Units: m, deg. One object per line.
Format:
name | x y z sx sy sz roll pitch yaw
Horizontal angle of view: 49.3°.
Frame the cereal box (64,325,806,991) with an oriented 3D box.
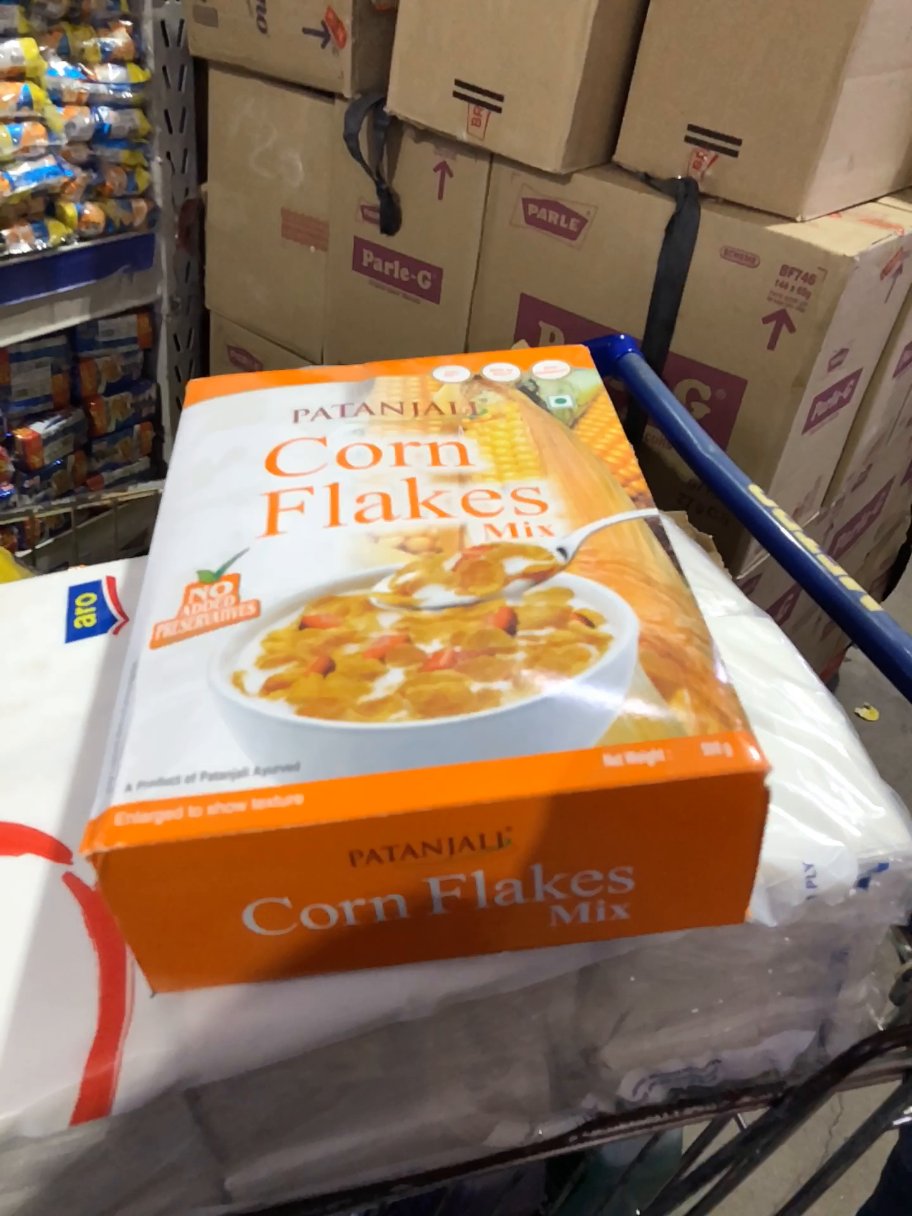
cereal box | -0.017 -0.008 0.394 0.200 0.079 0.272 -5 42 -4
